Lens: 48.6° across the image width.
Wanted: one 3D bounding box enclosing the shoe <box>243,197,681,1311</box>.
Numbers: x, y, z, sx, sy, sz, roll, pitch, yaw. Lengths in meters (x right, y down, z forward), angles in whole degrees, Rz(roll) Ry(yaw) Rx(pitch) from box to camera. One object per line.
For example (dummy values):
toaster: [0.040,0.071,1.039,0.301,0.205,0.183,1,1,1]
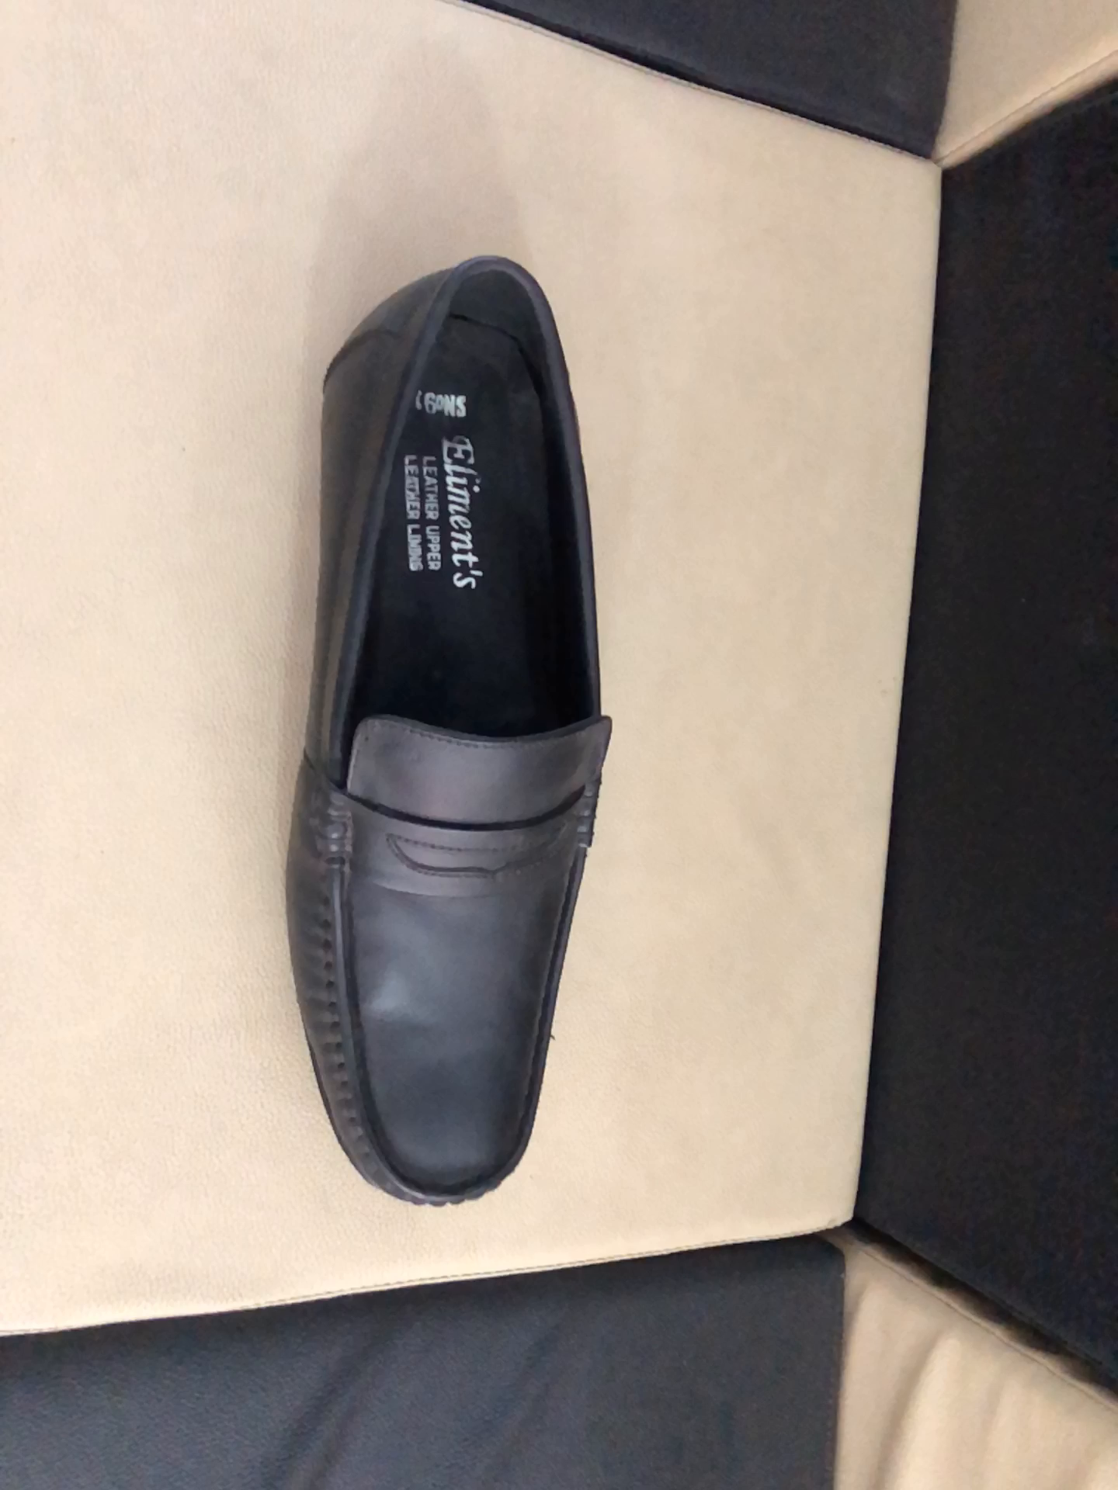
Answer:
shoe: [-0.033,0.004,0.379,0.100,0.080,0.290,2,91,-25]
